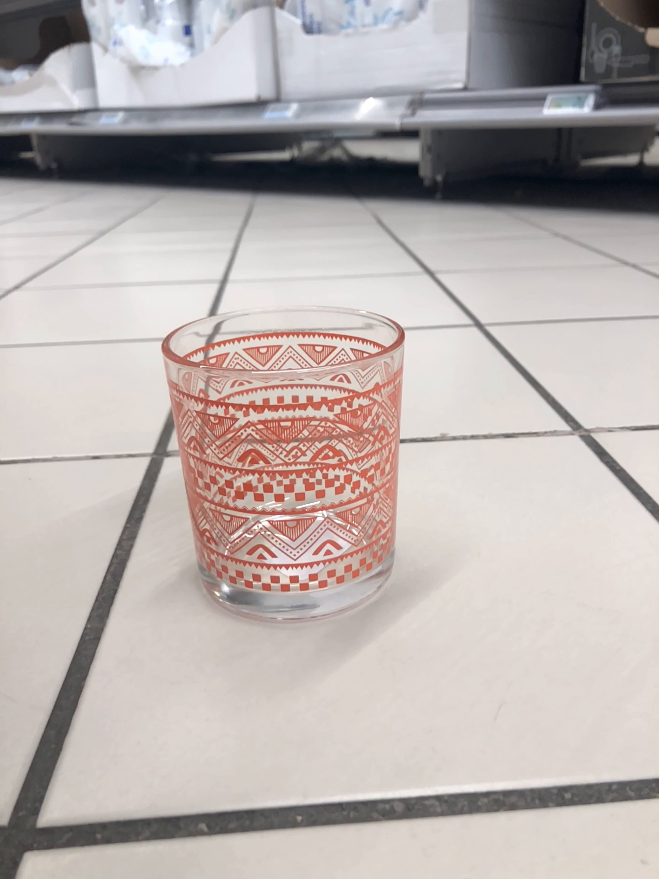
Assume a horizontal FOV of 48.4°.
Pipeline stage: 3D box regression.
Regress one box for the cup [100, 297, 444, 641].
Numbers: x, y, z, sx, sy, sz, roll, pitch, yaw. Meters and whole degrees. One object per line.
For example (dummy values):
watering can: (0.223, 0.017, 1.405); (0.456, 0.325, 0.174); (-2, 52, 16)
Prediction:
cup: (-0.013, 0.004, 0.229); (0.083, 0.078, 0.079); (-2, 23, 1)
